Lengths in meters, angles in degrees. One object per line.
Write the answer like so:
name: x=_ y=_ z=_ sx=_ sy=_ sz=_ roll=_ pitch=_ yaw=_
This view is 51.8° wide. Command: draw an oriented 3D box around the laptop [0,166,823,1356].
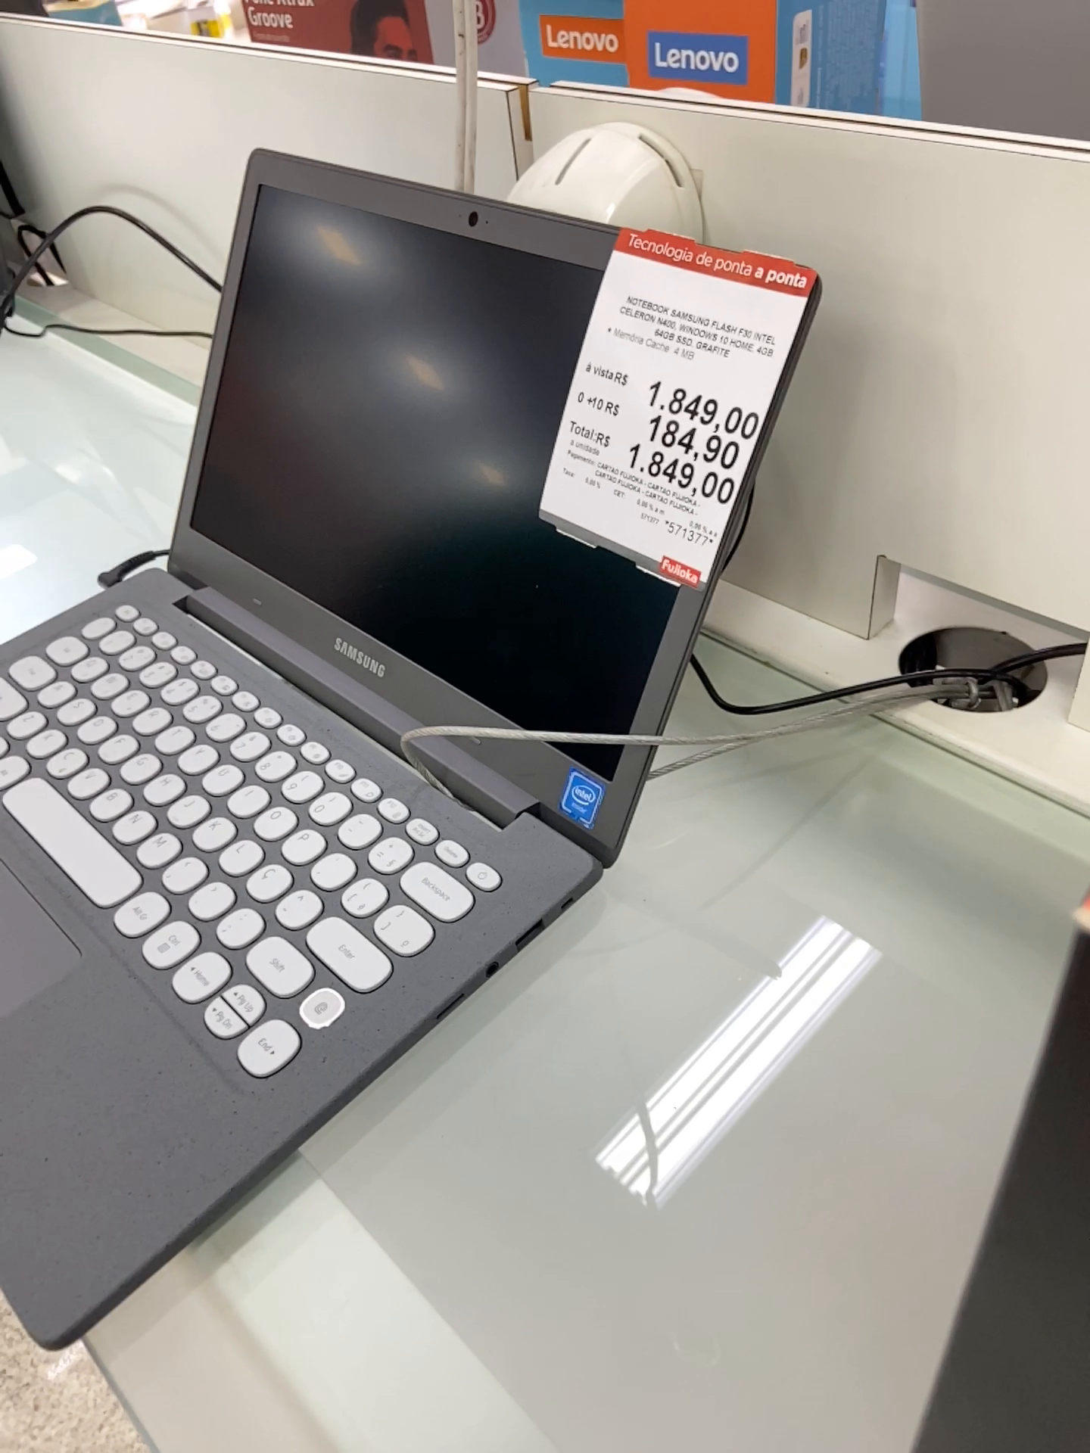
laptop: x=-0.137 y=-0.052 z=0.420 sx=0.341 sy=0.172 sz=0.325 roll=-37 pitch=47 yaw=-28
